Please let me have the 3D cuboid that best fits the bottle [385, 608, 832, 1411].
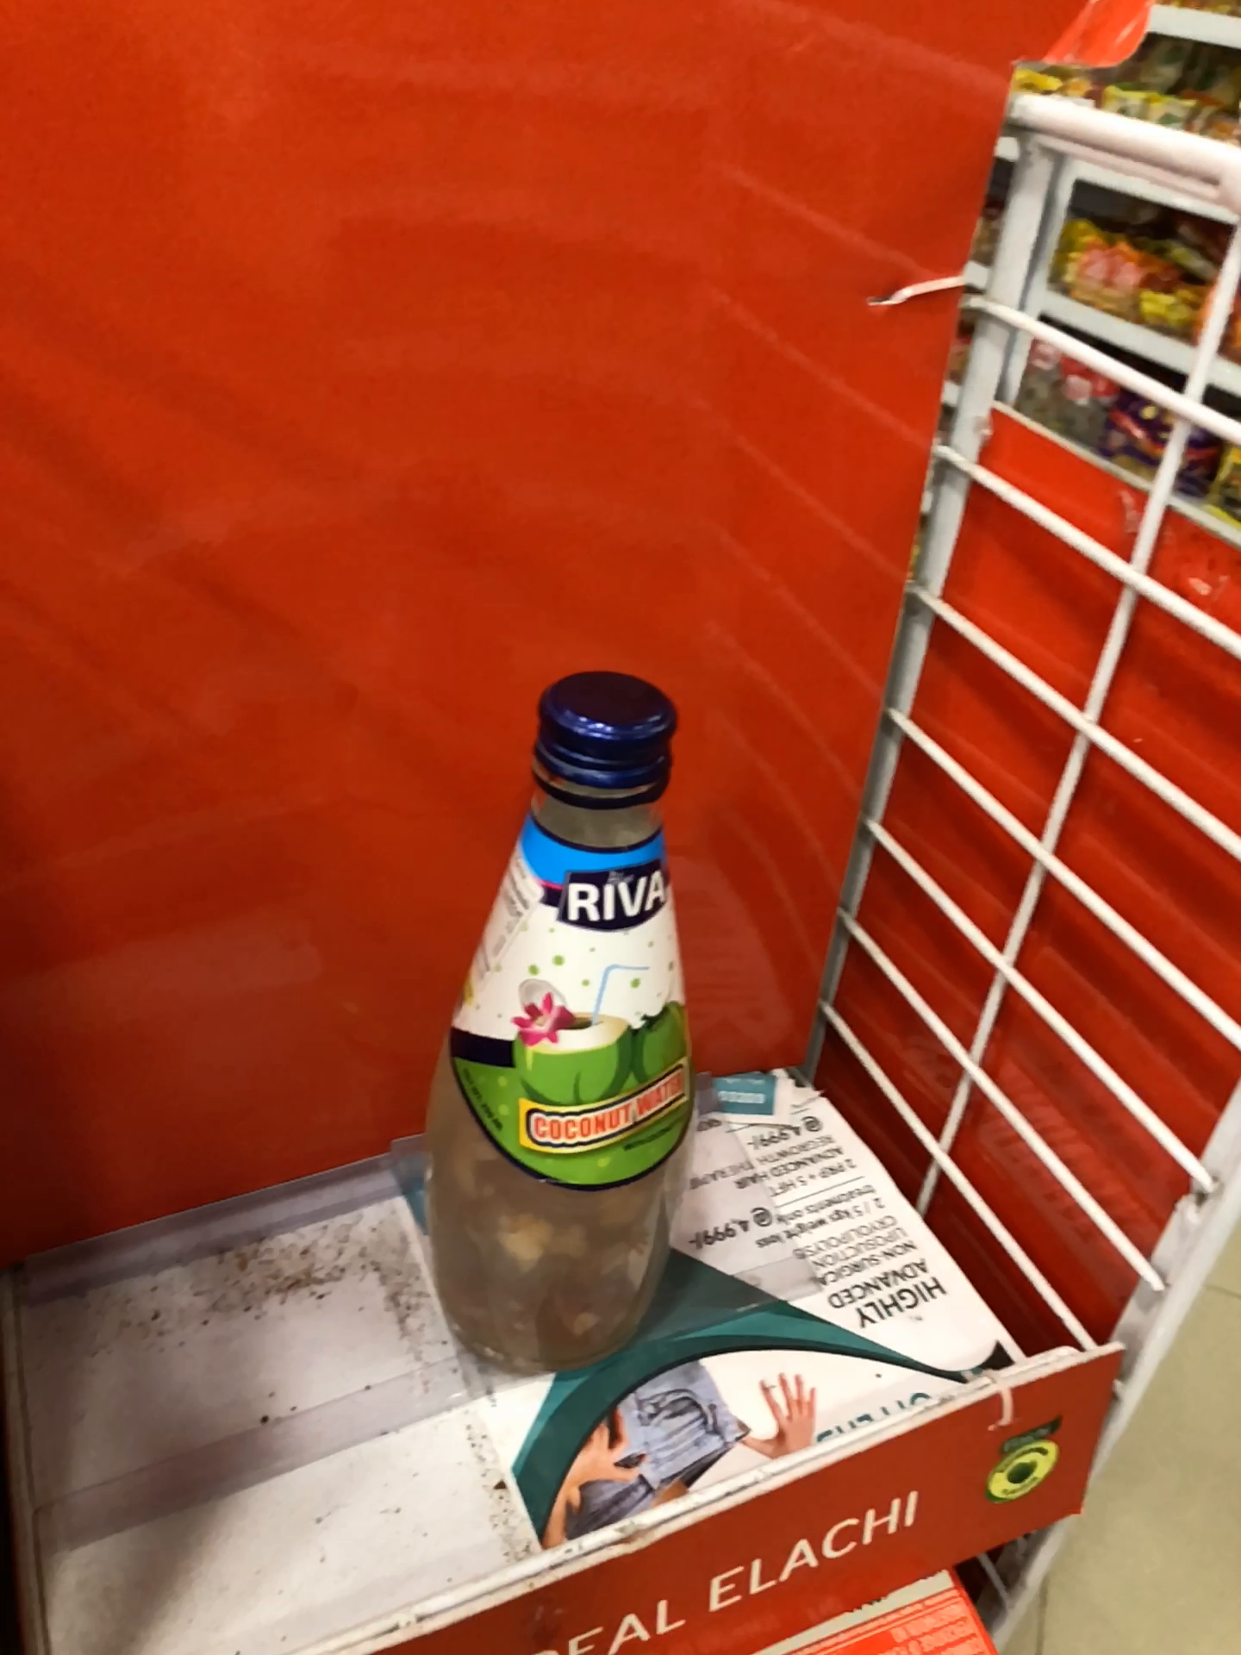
[{"bbox_3d":[-0.011,0.047,0.322,0.070,0.179,0.060,-11,38,-23],"label":"bottle"}]
